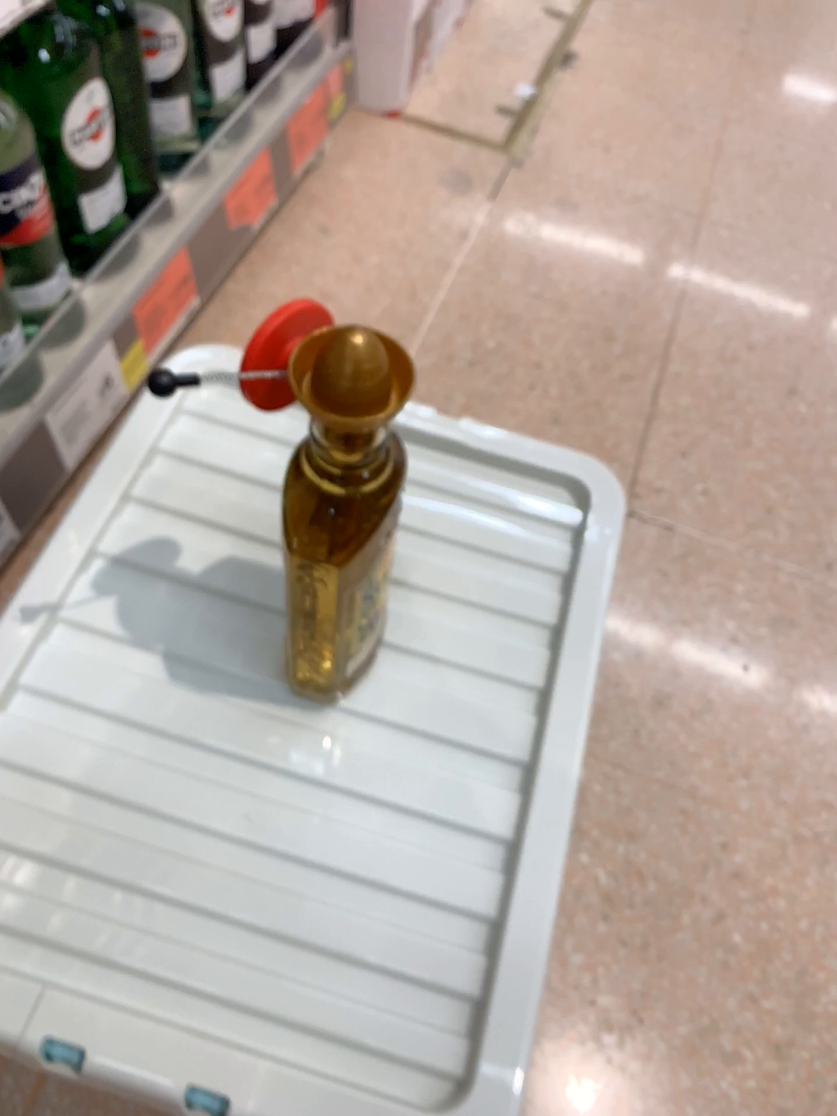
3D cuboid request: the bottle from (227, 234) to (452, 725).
[{"bbox_3d":[-0.044,-0.018,0.447,0.058,0.258,0.101,17,56,3],"label":"bottle"}]
